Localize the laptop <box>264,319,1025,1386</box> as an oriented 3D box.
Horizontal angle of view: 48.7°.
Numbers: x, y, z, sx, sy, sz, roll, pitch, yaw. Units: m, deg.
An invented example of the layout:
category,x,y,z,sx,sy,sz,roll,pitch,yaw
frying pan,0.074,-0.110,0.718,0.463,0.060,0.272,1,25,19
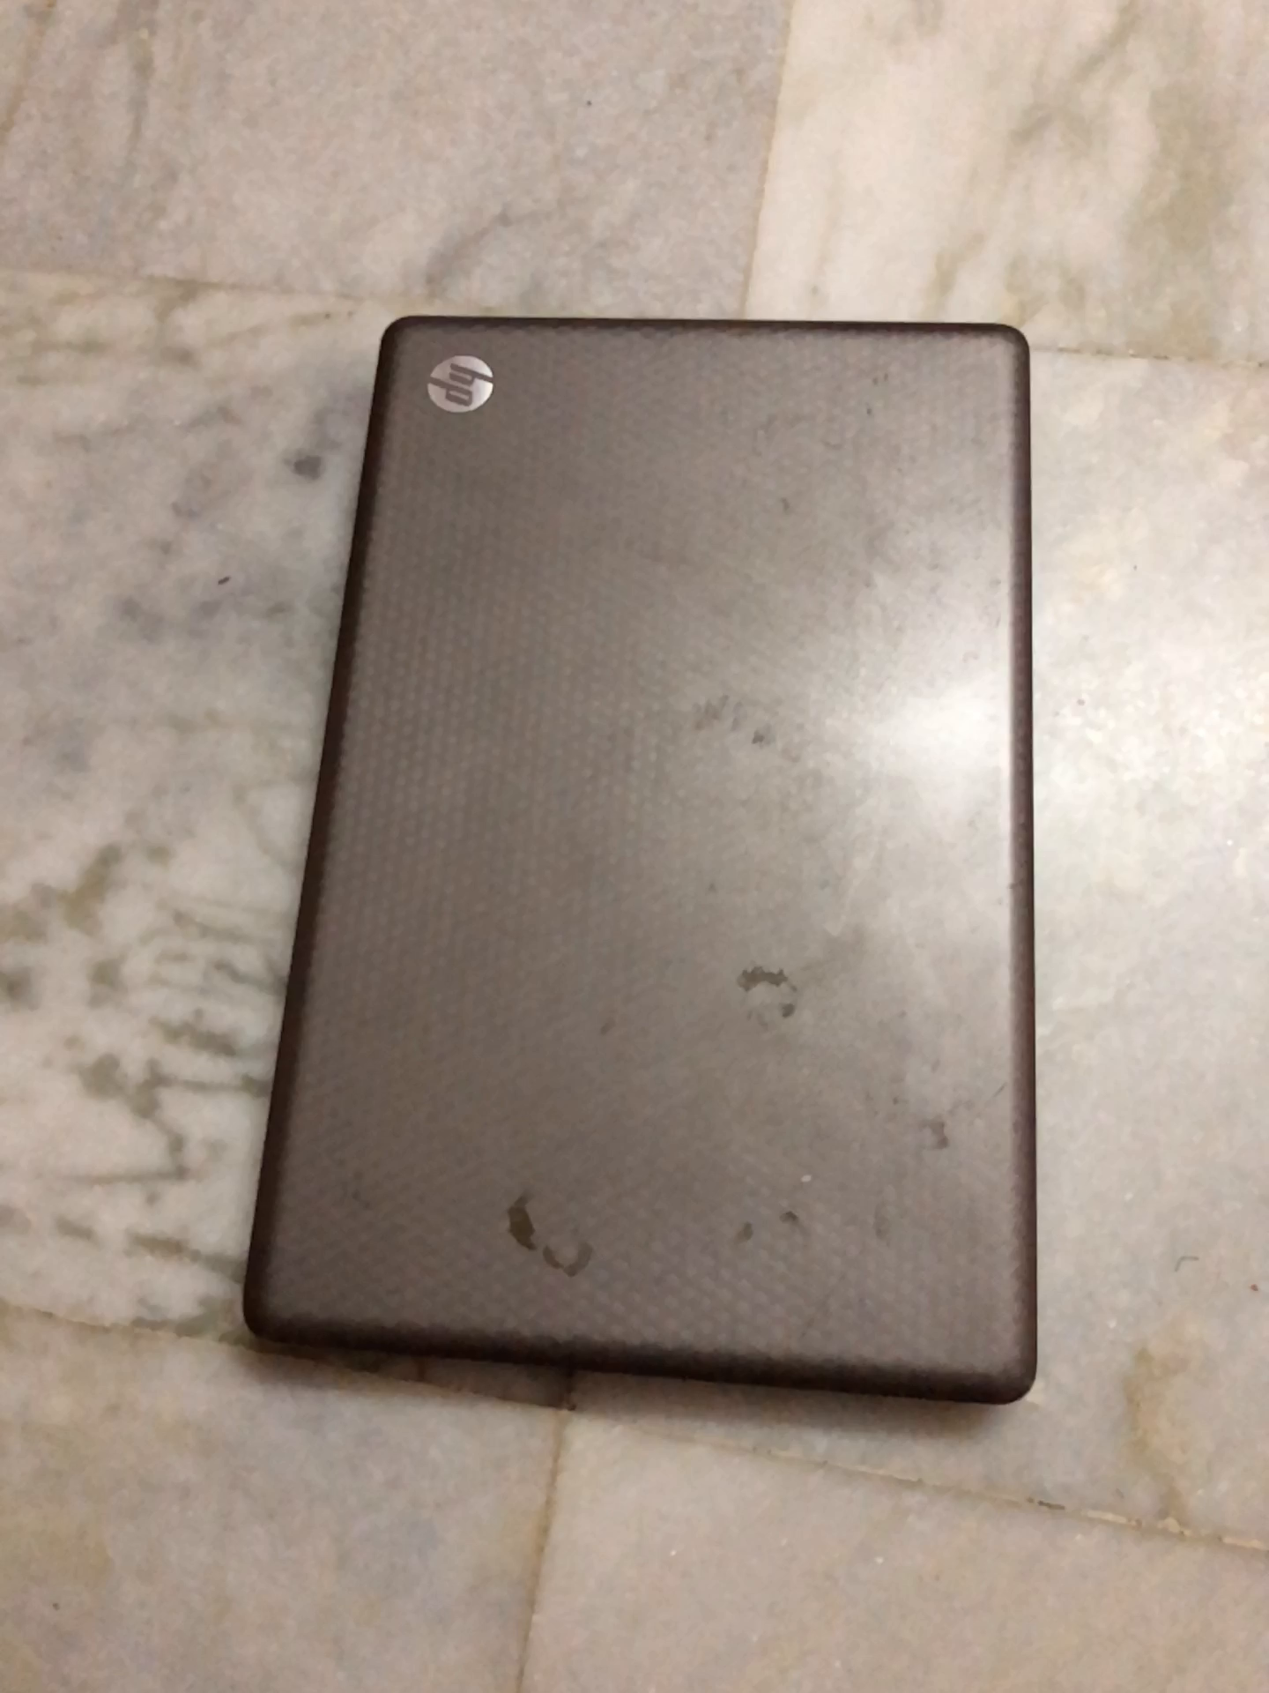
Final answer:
category,x,y,z,sx,sy,sz,roll,pitch,yaw
laptop,0.014,-0.022,0.516,0.252,0.003,0.394,3,74,5
